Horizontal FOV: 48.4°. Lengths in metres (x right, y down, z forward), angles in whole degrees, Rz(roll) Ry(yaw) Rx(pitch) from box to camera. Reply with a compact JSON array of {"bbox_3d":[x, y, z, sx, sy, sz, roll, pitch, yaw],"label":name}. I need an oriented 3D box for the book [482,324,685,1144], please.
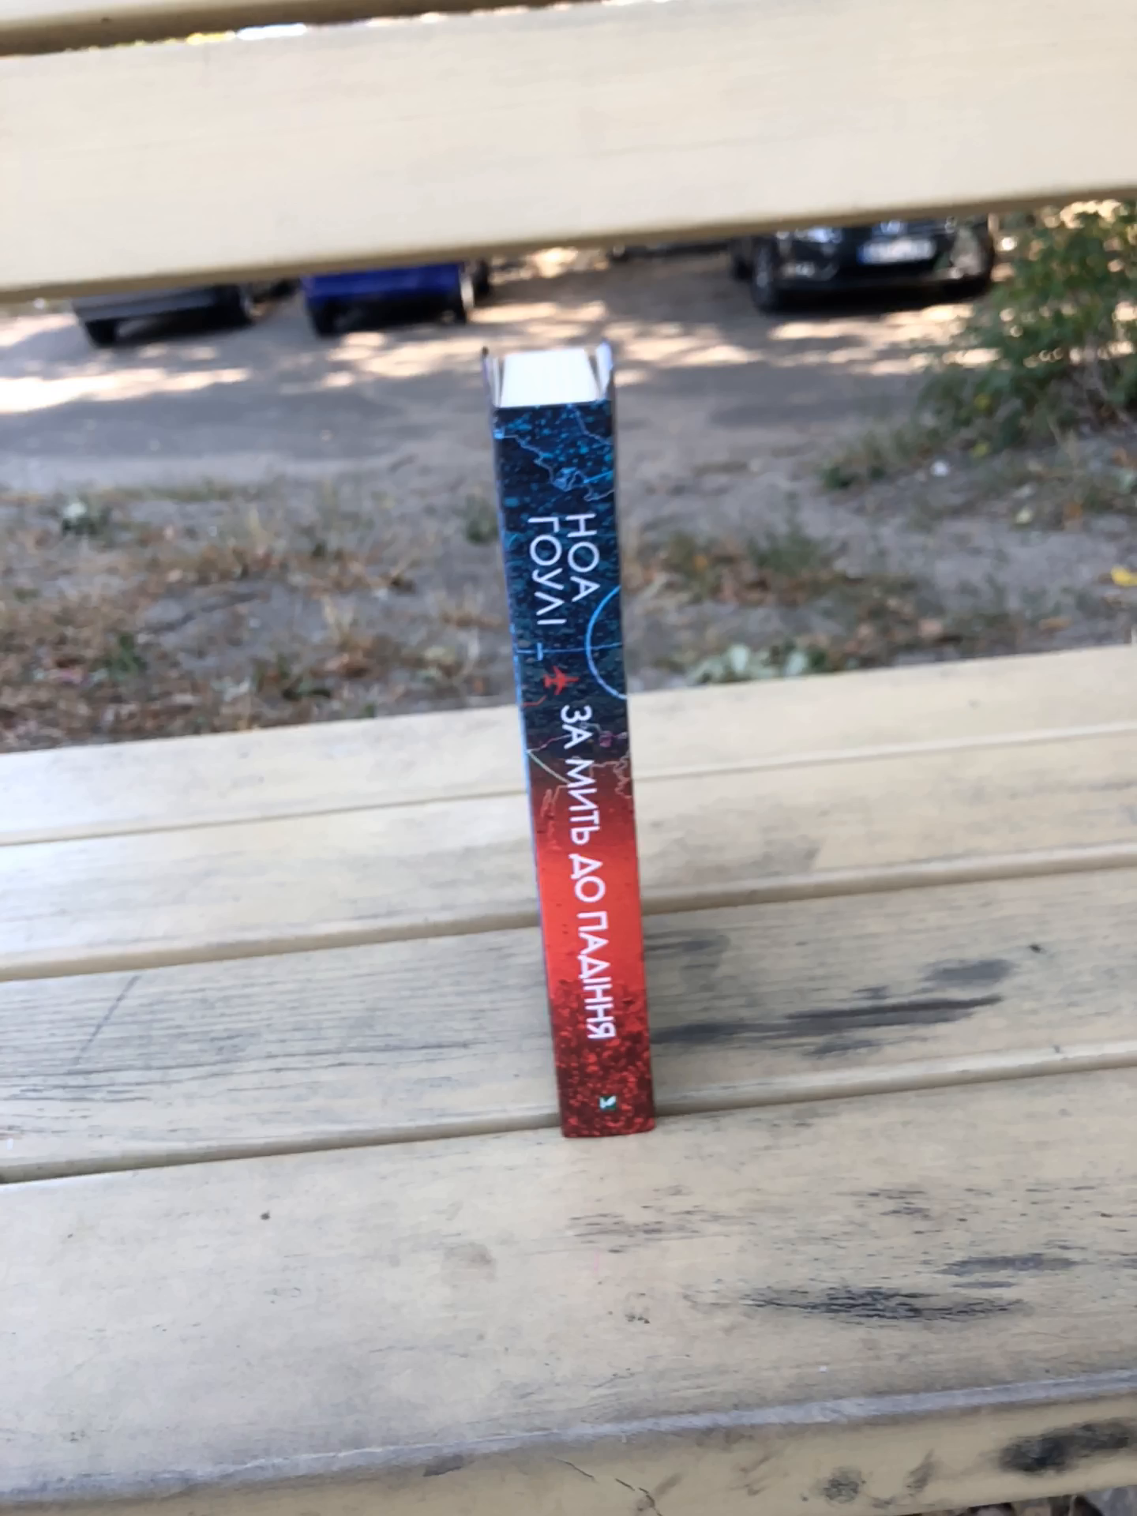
[{"bbox_3d":[0.003,-0.015,0.372,0.040,0.199,0.141,-4,24,-1],"label":"book"}]
